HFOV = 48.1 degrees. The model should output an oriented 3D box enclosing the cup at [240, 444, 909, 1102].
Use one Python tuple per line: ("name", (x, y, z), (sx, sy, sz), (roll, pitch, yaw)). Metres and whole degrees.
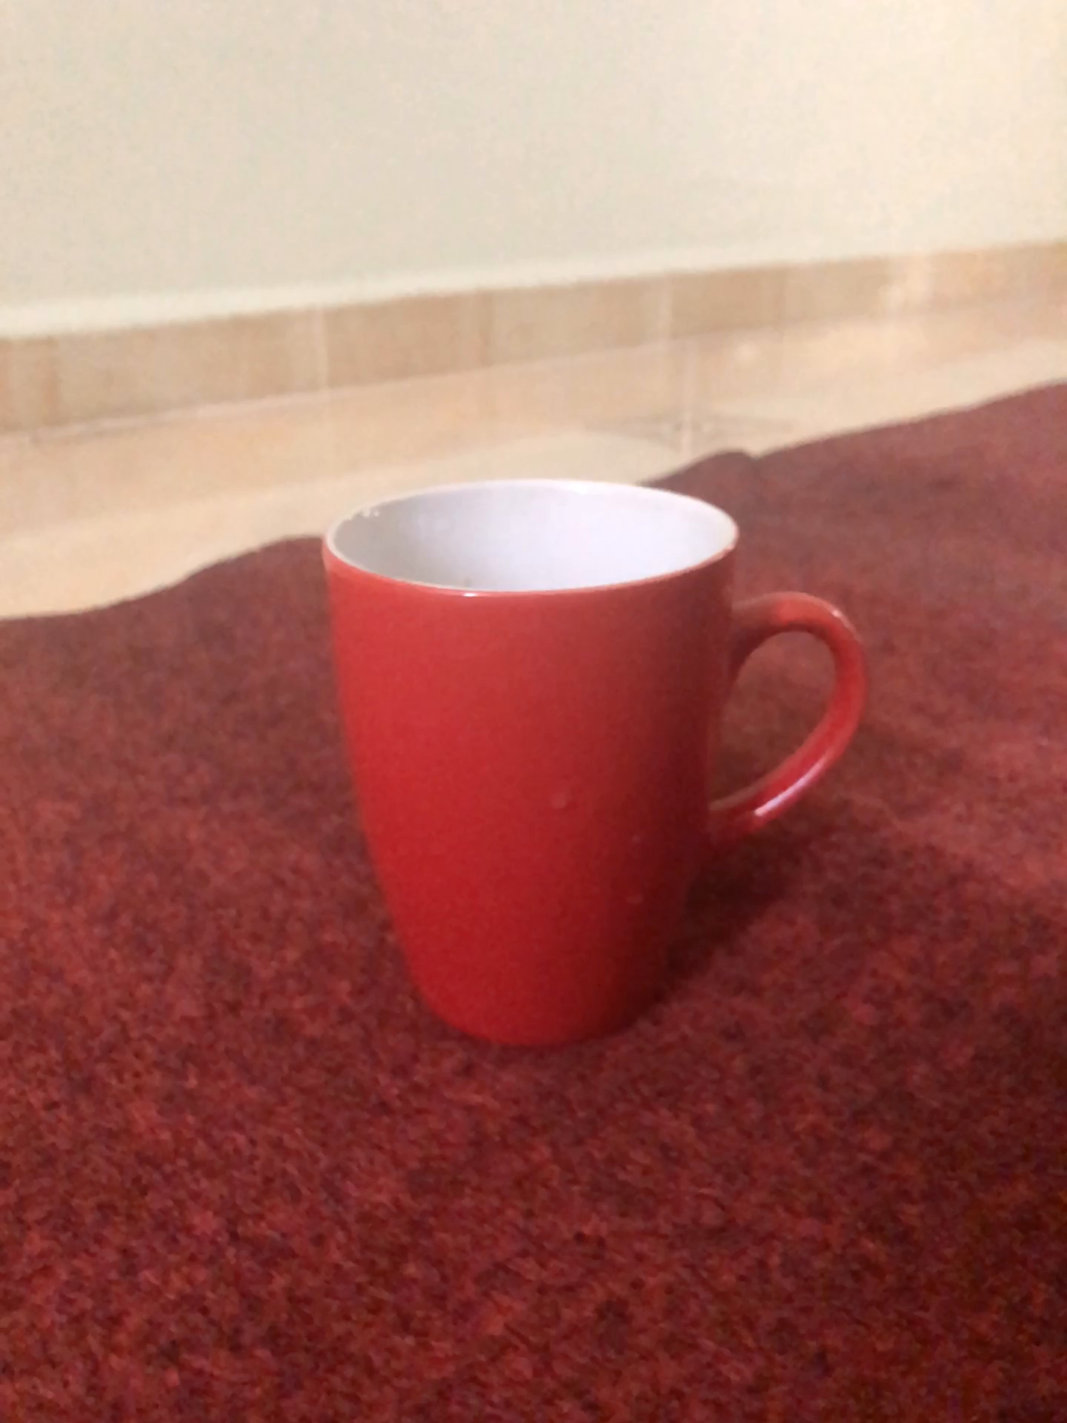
("cup", (0.008, 0.003, 0.257), (0.109, 0.094, 0.078), (-15, 27, -28))
